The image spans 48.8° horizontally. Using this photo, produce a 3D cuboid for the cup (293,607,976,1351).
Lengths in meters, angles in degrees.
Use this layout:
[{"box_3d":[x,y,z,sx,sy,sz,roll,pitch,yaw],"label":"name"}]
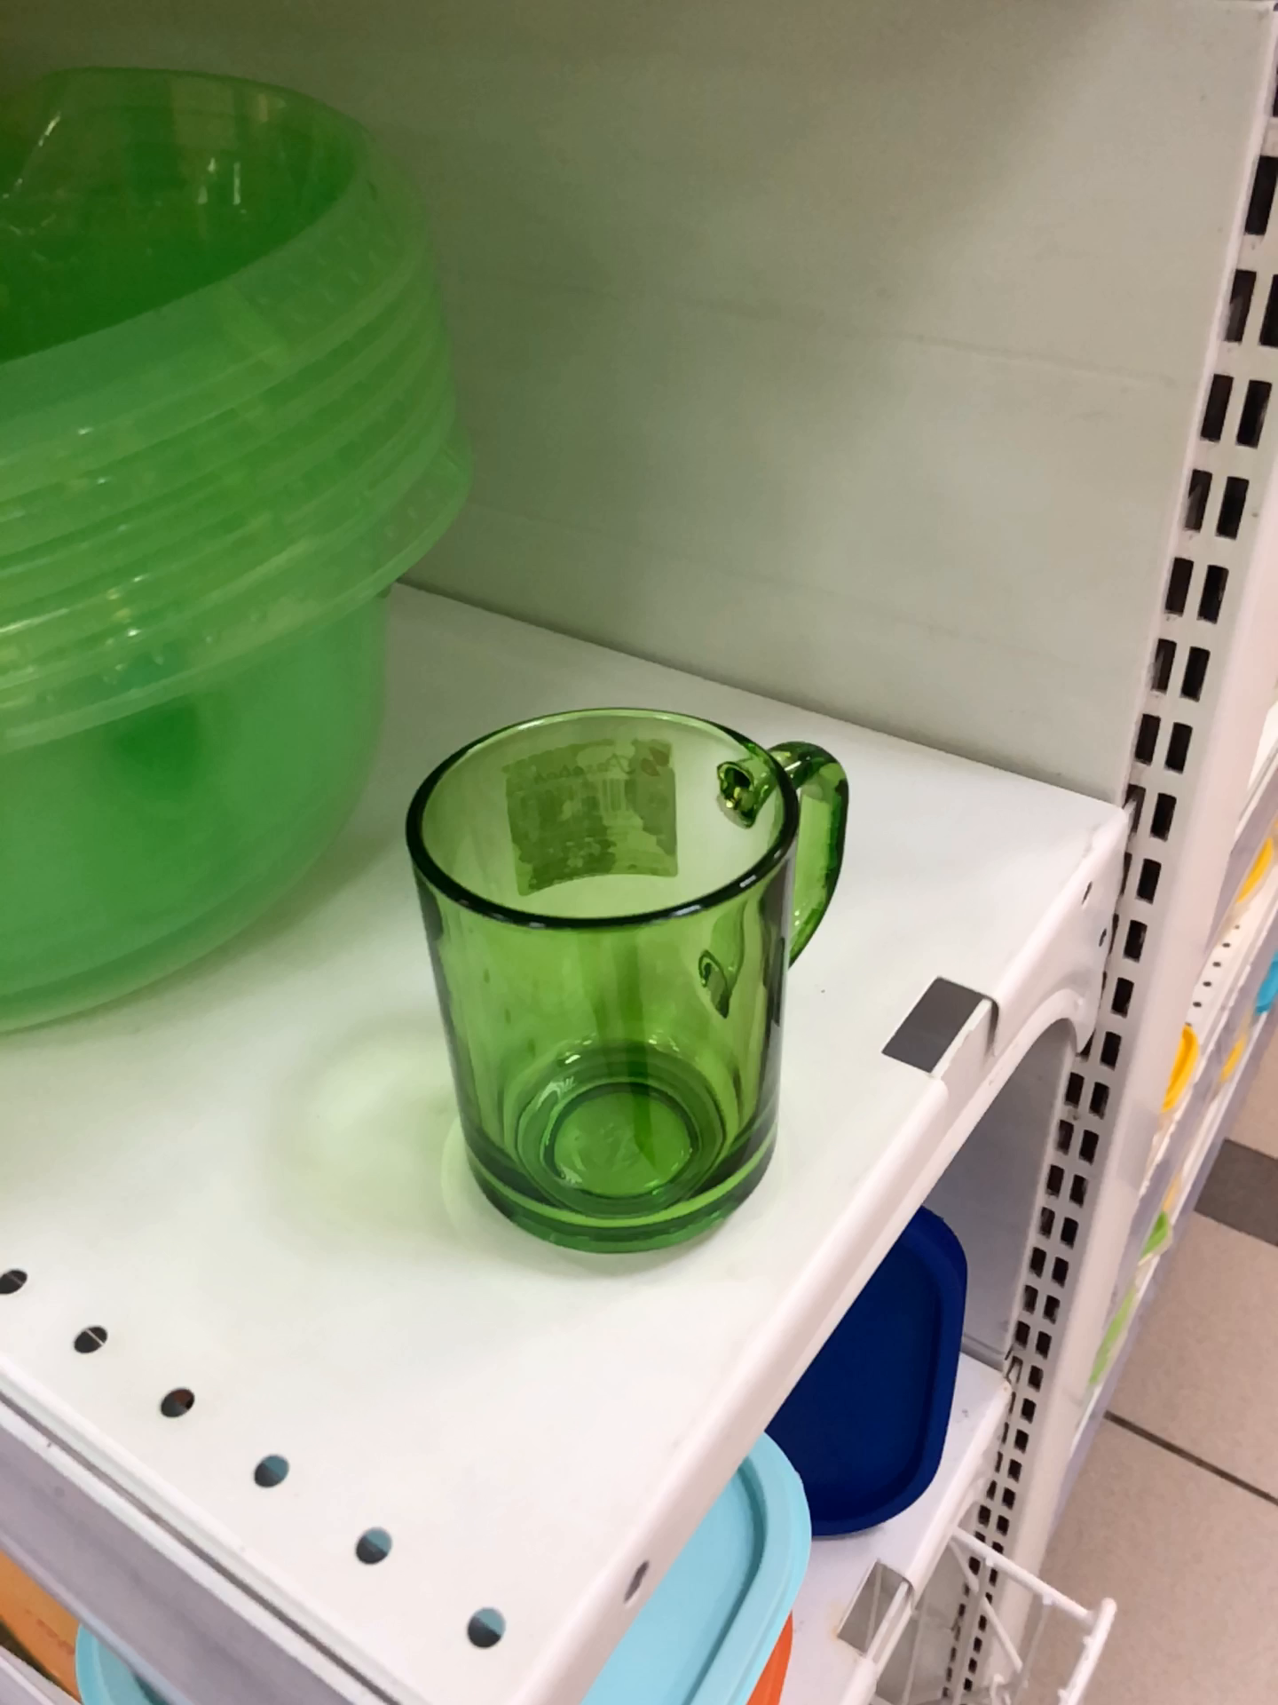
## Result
[{"box_3d":[0.004,0.019,0.289,0.073,0.086,0.110,28,47,34],"label":"cup"}]
